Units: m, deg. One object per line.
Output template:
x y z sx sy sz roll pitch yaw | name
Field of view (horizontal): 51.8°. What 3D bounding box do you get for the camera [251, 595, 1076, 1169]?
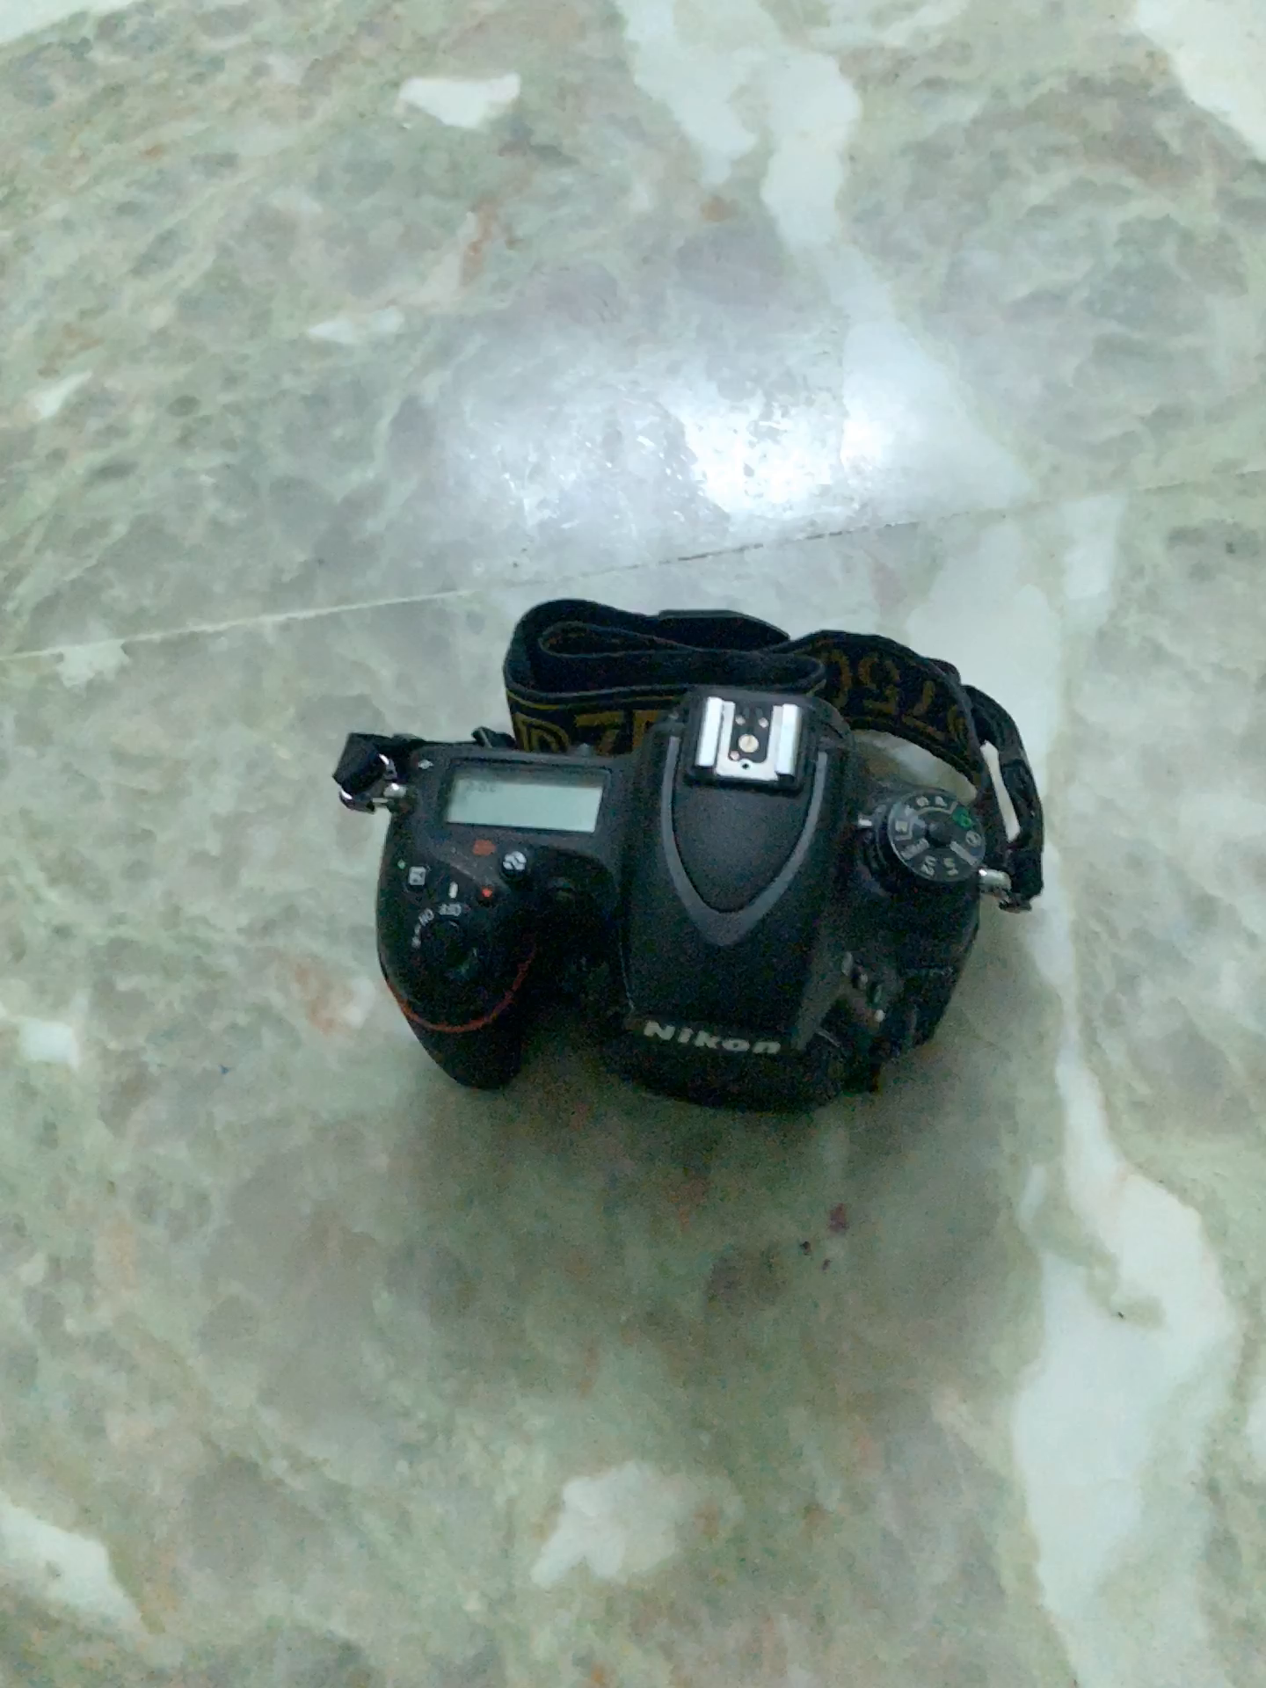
0.012 0.013 0.297 0.150 0.100 0.080 6 64 7 | camera
